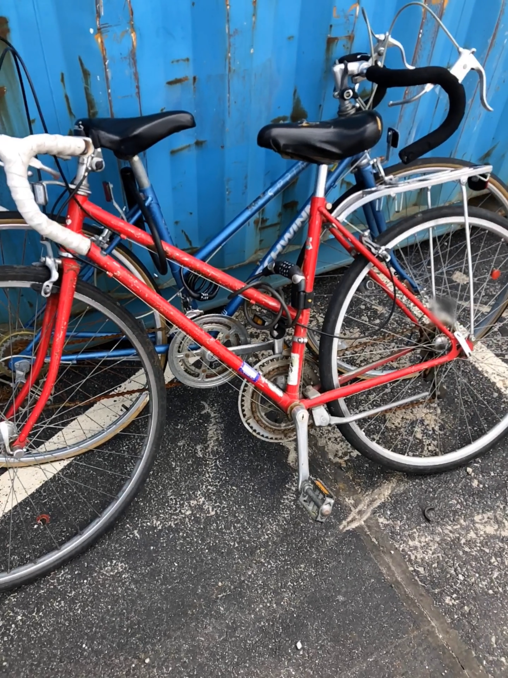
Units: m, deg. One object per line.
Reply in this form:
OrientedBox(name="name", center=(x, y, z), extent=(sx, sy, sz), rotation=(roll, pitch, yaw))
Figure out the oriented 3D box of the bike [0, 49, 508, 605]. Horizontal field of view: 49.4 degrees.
OrientedBox(name="bike", center=(-0.035, -0.106, 1.226), extent=(1.642, 0.824, 0.485), rotation=(-14, 47, -20))
